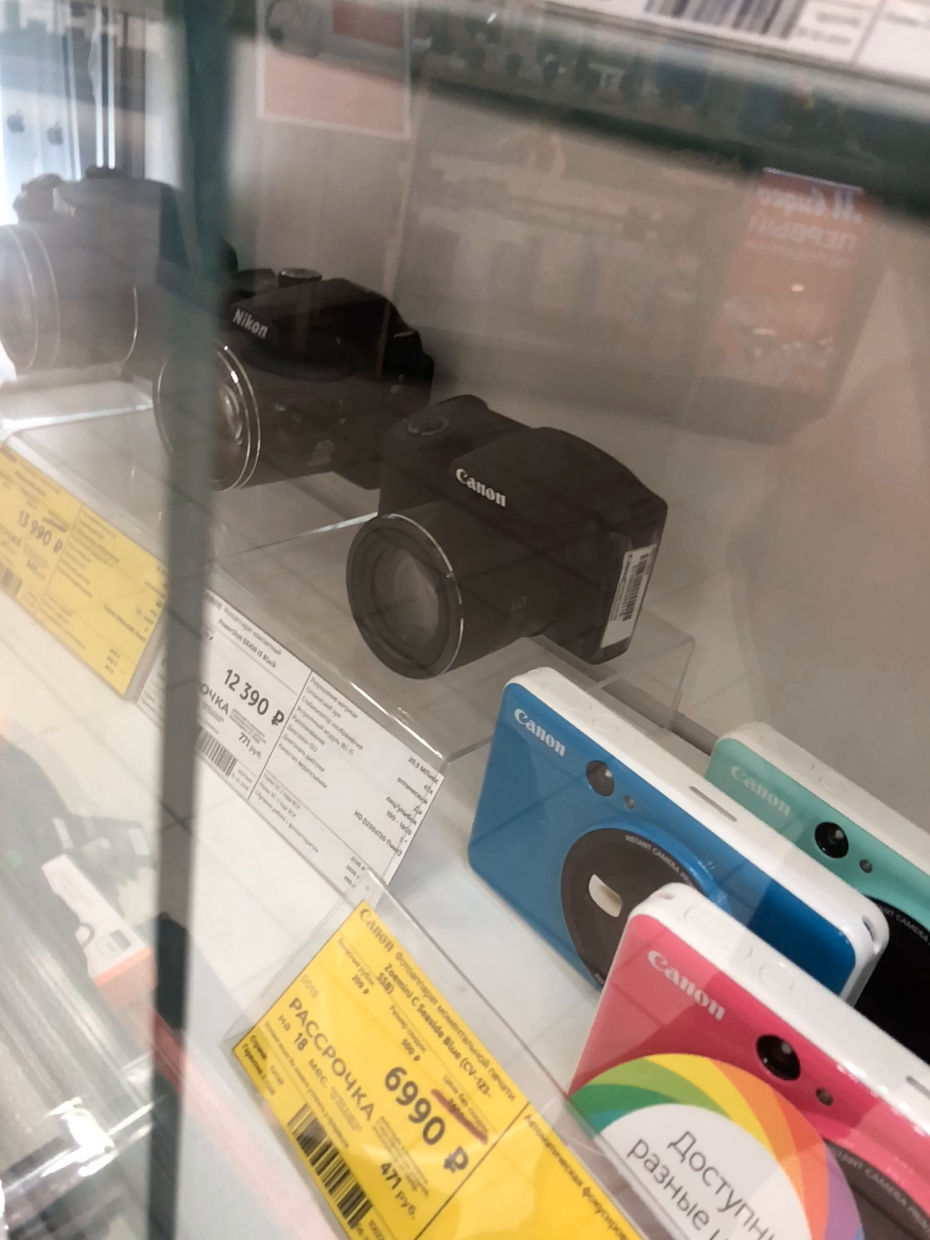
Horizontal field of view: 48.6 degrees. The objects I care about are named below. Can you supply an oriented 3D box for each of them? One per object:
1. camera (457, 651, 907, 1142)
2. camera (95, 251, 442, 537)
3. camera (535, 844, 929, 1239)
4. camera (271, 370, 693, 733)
[{"bbox_3d":[0.052,0.073,0.292,0.028,0.073,0.118,-17,41,-38],"label":"camera"},{"bbox_3d":[-0.082,-0.097,0.417,0.093,0.073,0.100,-20,42,-40],"label":"camera"},{"bbox_3d":[0.072,0.117,0.221,0.028,0.073,0.118,-17,41,-38],"label":"camera"},{"bbox_3d":[0.002,-0.031,0.355,0.093,0.070,0.100,-20,42,-40],"label":"camera"}]
